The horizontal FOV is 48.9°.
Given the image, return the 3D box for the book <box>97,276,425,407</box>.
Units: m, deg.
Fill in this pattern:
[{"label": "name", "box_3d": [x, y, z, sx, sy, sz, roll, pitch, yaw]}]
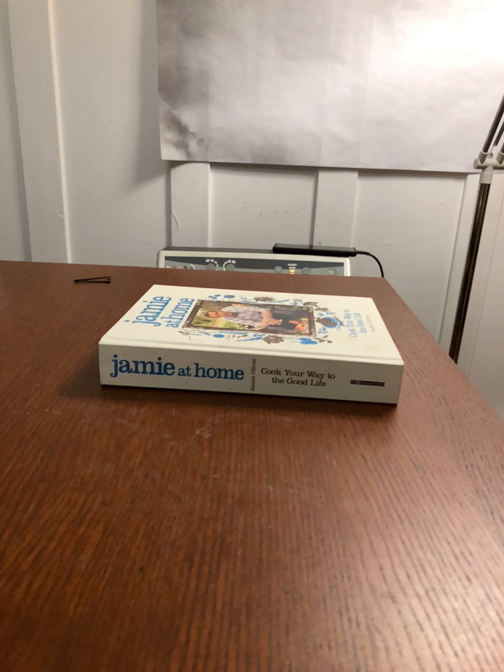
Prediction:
[{"label": "book", "box_3d": [0.011, -0.006, 0.544, 0.260, 0.040, 0.211, 3, 21, 2]}]
